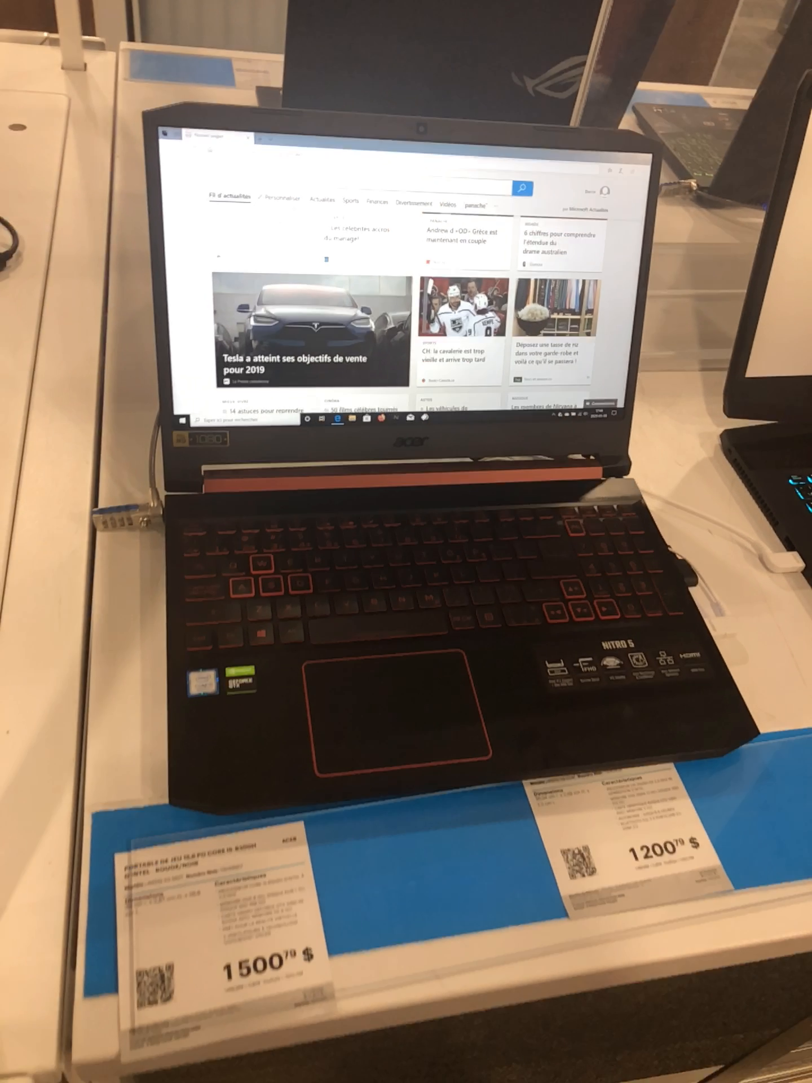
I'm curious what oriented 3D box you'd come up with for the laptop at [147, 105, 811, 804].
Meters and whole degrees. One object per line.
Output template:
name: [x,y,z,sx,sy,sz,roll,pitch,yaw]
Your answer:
laptop: [0.031,-0.075,0.558,0.357,0.211,0.360,-3,49,-13]
